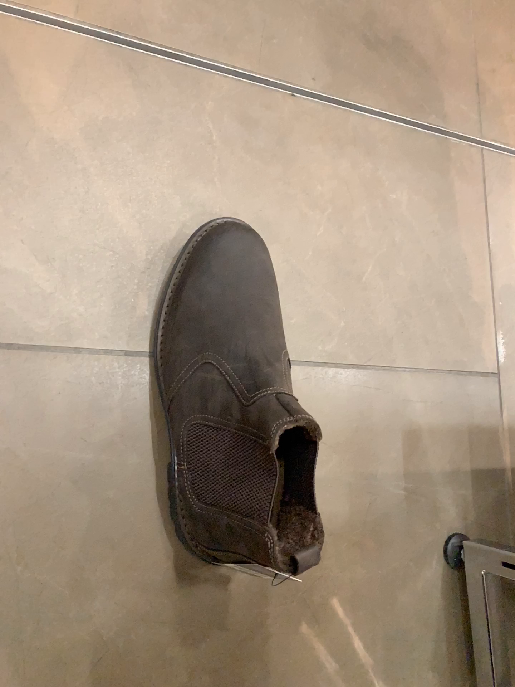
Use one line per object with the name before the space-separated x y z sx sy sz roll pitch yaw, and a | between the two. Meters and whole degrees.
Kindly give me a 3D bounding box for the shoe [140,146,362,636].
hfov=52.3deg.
shoe | -0.013 0.034 0.423 0.114 0.166 0.304 5 79 -22
